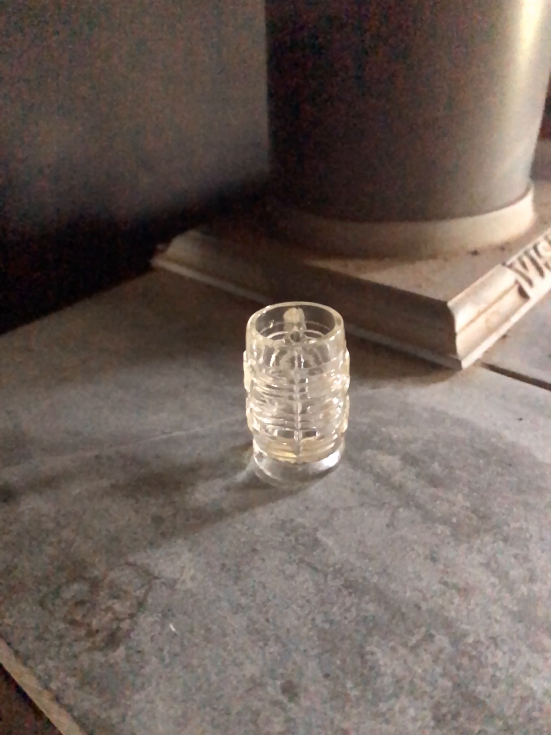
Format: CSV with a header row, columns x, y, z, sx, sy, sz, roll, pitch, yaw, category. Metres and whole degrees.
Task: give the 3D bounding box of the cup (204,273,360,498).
x,y,z,sx,sy,sz,roll,pitch,yaw,category
0.001,0.004,0.220,0.040,0.050,0.060,-9,33,-8,cup
